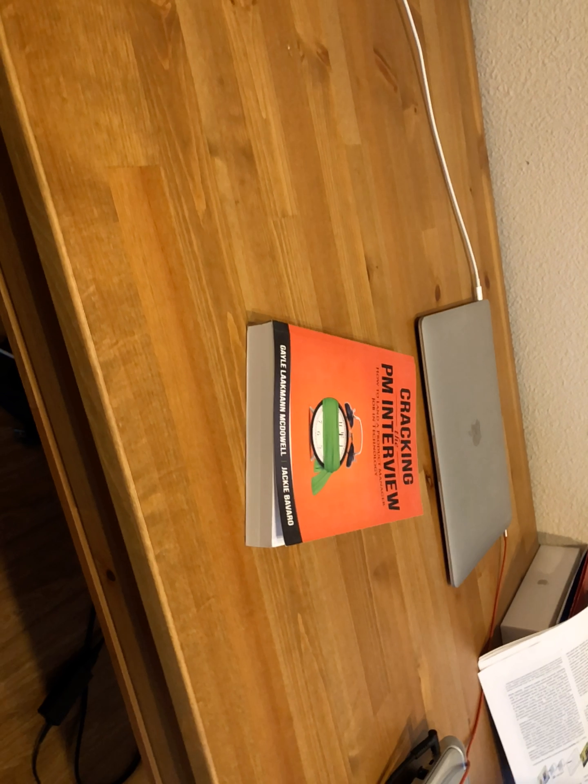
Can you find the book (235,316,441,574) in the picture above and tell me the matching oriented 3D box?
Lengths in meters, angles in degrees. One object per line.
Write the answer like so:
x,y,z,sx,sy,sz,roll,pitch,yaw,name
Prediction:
0.049,0.041,0.522,0.252,0.040,0.160,6,82,-55,book
